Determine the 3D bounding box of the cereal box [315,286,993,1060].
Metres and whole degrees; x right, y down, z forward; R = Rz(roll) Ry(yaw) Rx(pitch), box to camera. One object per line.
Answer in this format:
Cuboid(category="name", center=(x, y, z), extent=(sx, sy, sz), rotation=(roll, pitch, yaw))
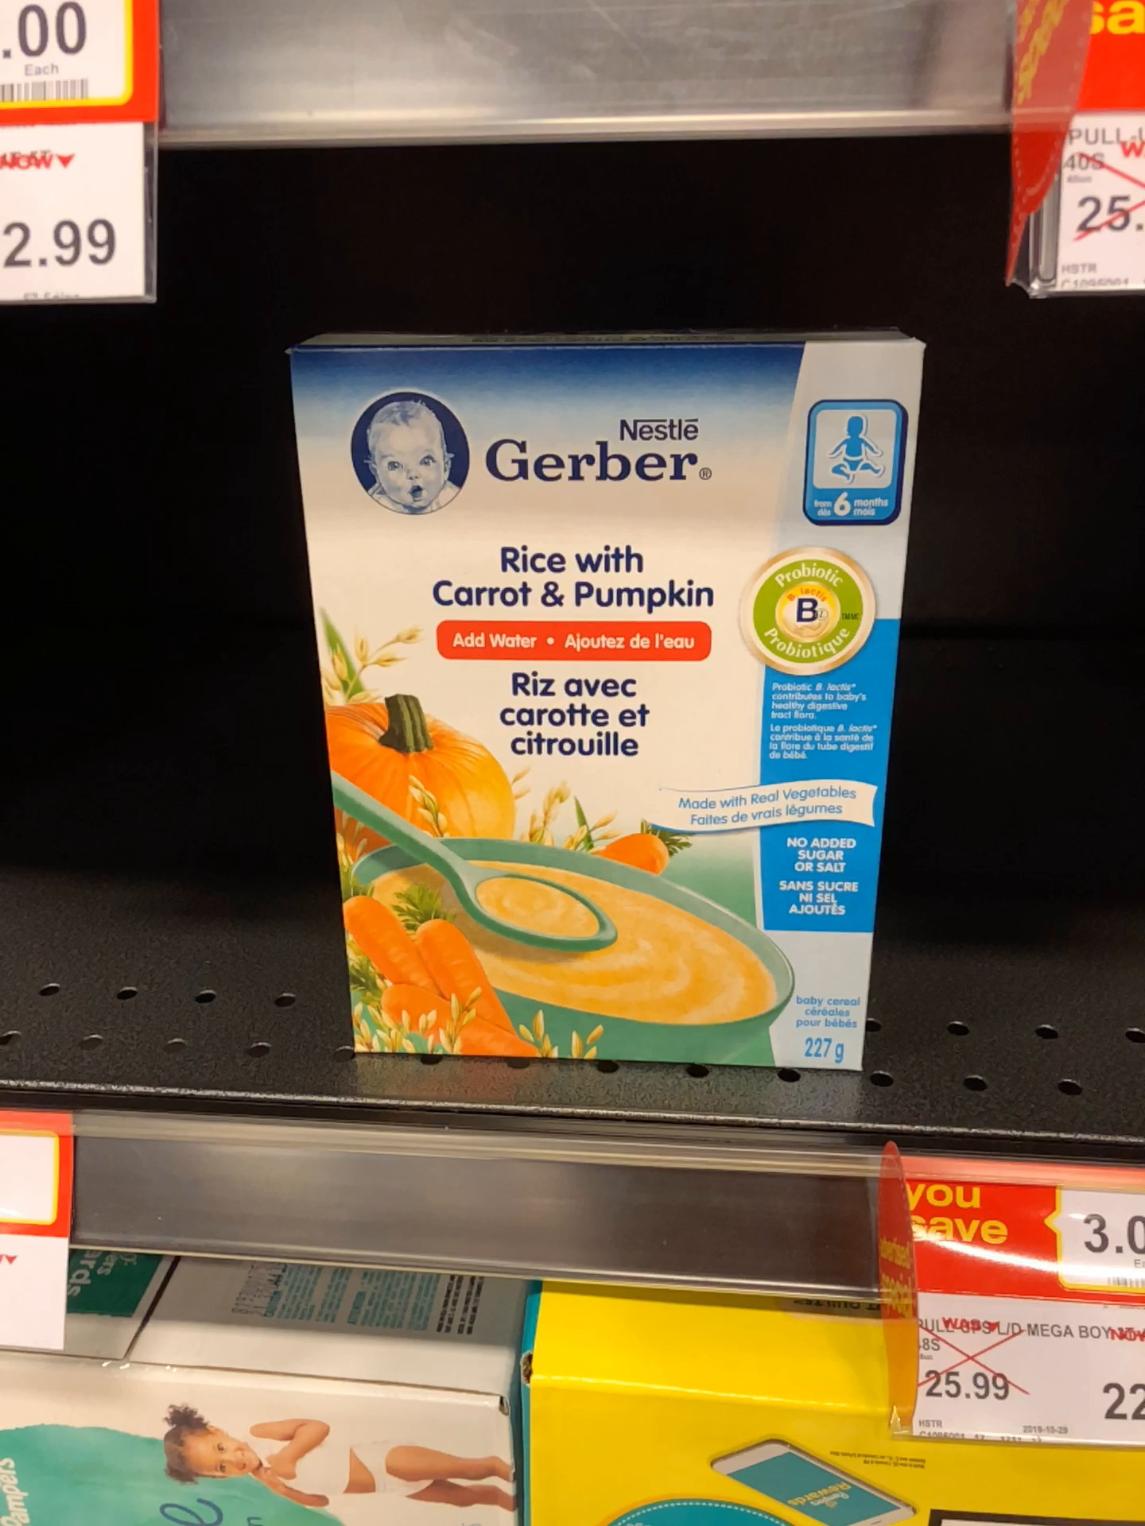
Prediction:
Cuboid(category="cereal box", center=(0.020, -0.019, 0.339), extent=(0.150, 0.199, 0.040), rotation=(1, 23, 5))
